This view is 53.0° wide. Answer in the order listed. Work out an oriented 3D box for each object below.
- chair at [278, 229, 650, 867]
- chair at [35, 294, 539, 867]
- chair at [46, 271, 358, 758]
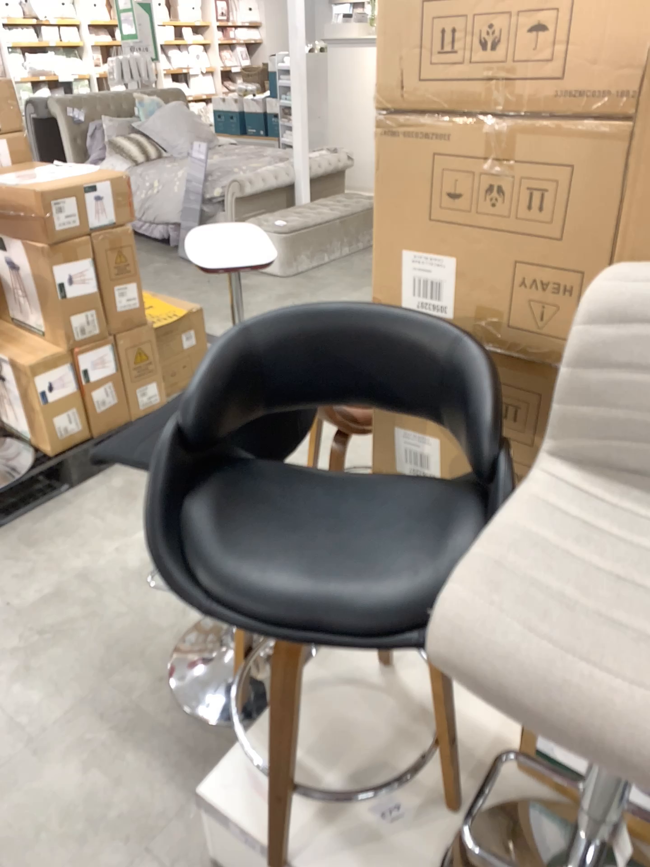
[{"bbox_3d":[0.261,0.313,0.822,0.436,0.967,0.439,20,36,29],"label":"chair"},{"bbox_3d":[0.012,0.285,1.169,0.564,0.898,0.551,0,30,9],"label":"chair"},{"bbox_3d":[-0.252,0.180,1.645,0.468,1.017,0.487,15,30,26],"label":"chair"}]
